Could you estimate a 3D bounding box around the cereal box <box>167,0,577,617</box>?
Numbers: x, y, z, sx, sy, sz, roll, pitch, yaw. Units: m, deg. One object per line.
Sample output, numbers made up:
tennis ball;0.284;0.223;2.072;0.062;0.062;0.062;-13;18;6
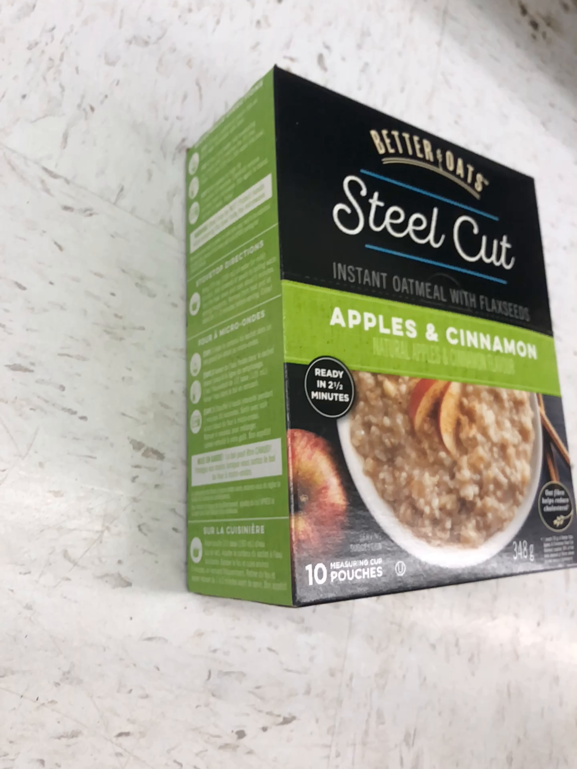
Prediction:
cereal box;0.039;-0.021;0.272;0.161;0.070;0.200;6;75;-36
